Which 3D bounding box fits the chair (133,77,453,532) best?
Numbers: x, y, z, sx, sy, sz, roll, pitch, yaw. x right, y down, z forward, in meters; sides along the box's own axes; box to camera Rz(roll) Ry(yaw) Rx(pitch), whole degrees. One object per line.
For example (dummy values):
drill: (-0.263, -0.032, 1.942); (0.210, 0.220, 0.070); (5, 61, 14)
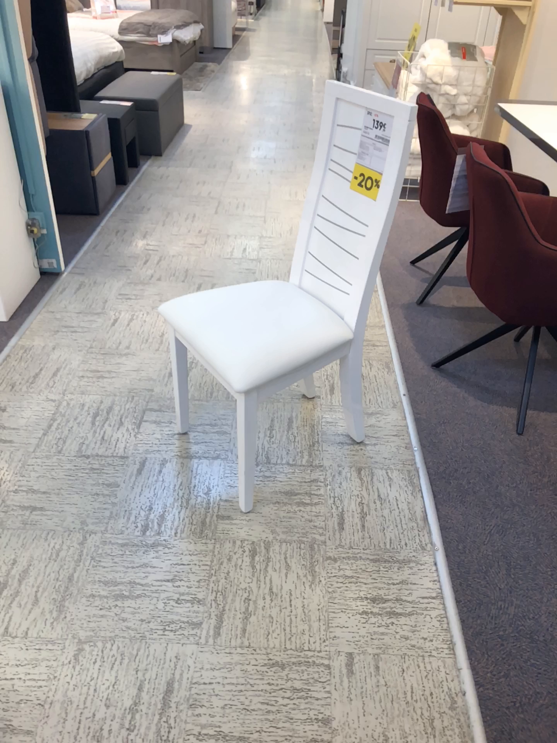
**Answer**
chair: (0.005, -0.177, 1.614); (0.542, 1.004, 0.451); (-19, 40, -29)
